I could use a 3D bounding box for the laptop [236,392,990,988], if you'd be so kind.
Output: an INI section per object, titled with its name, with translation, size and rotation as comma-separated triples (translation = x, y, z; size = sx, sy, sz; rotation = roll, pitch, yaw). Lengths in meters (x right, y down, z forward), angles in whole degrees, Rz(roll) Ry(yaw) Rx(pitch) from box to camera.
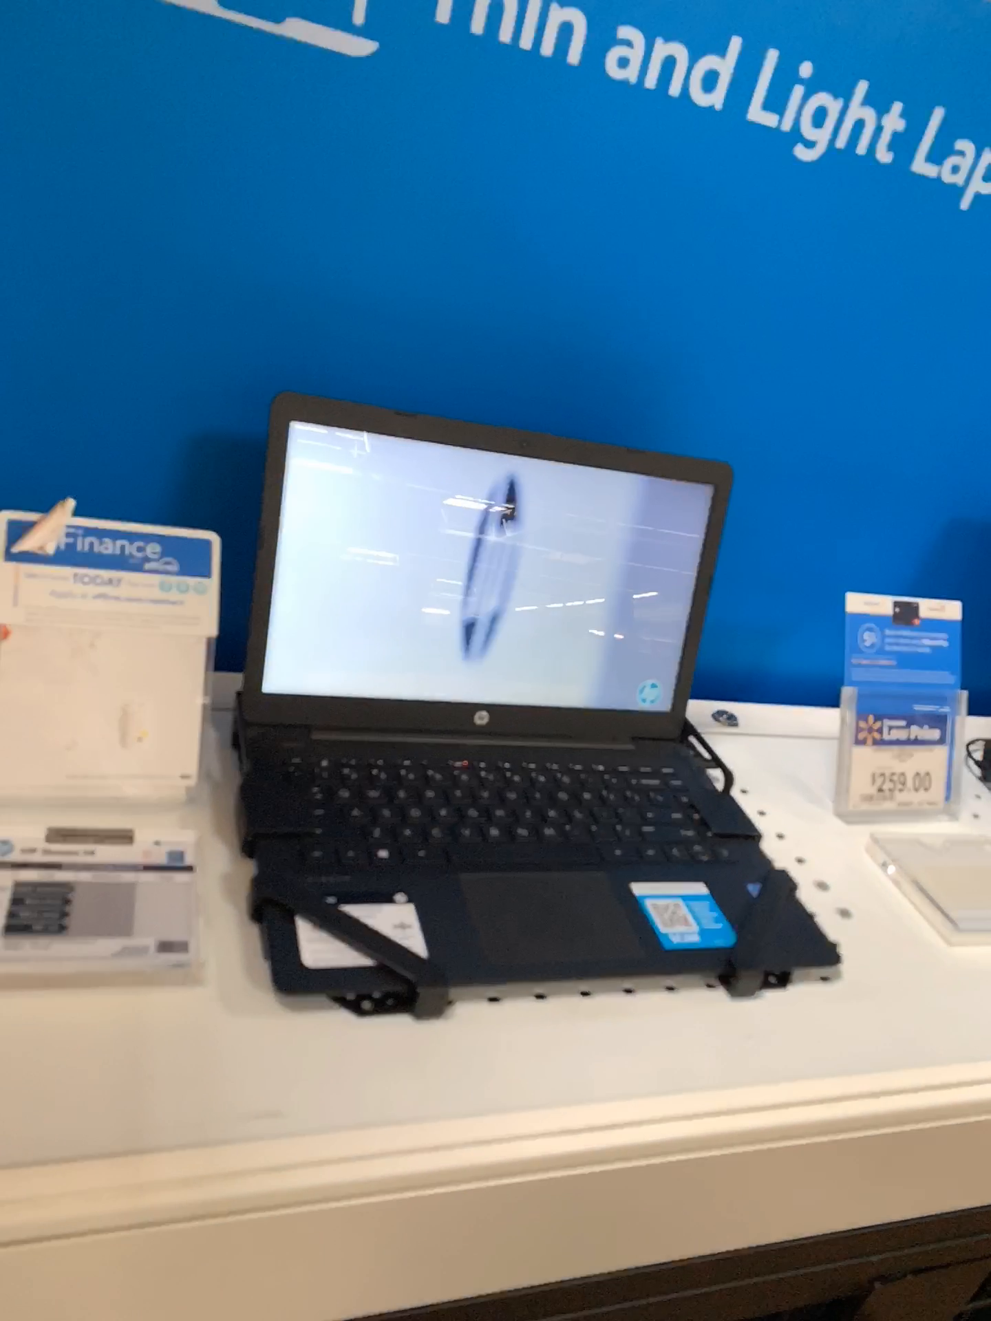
[laptop]
translation = 0.037, 0.006, 0.591
size = 0.326, 0.203, 0.270
rotation = 4, 29, -22
